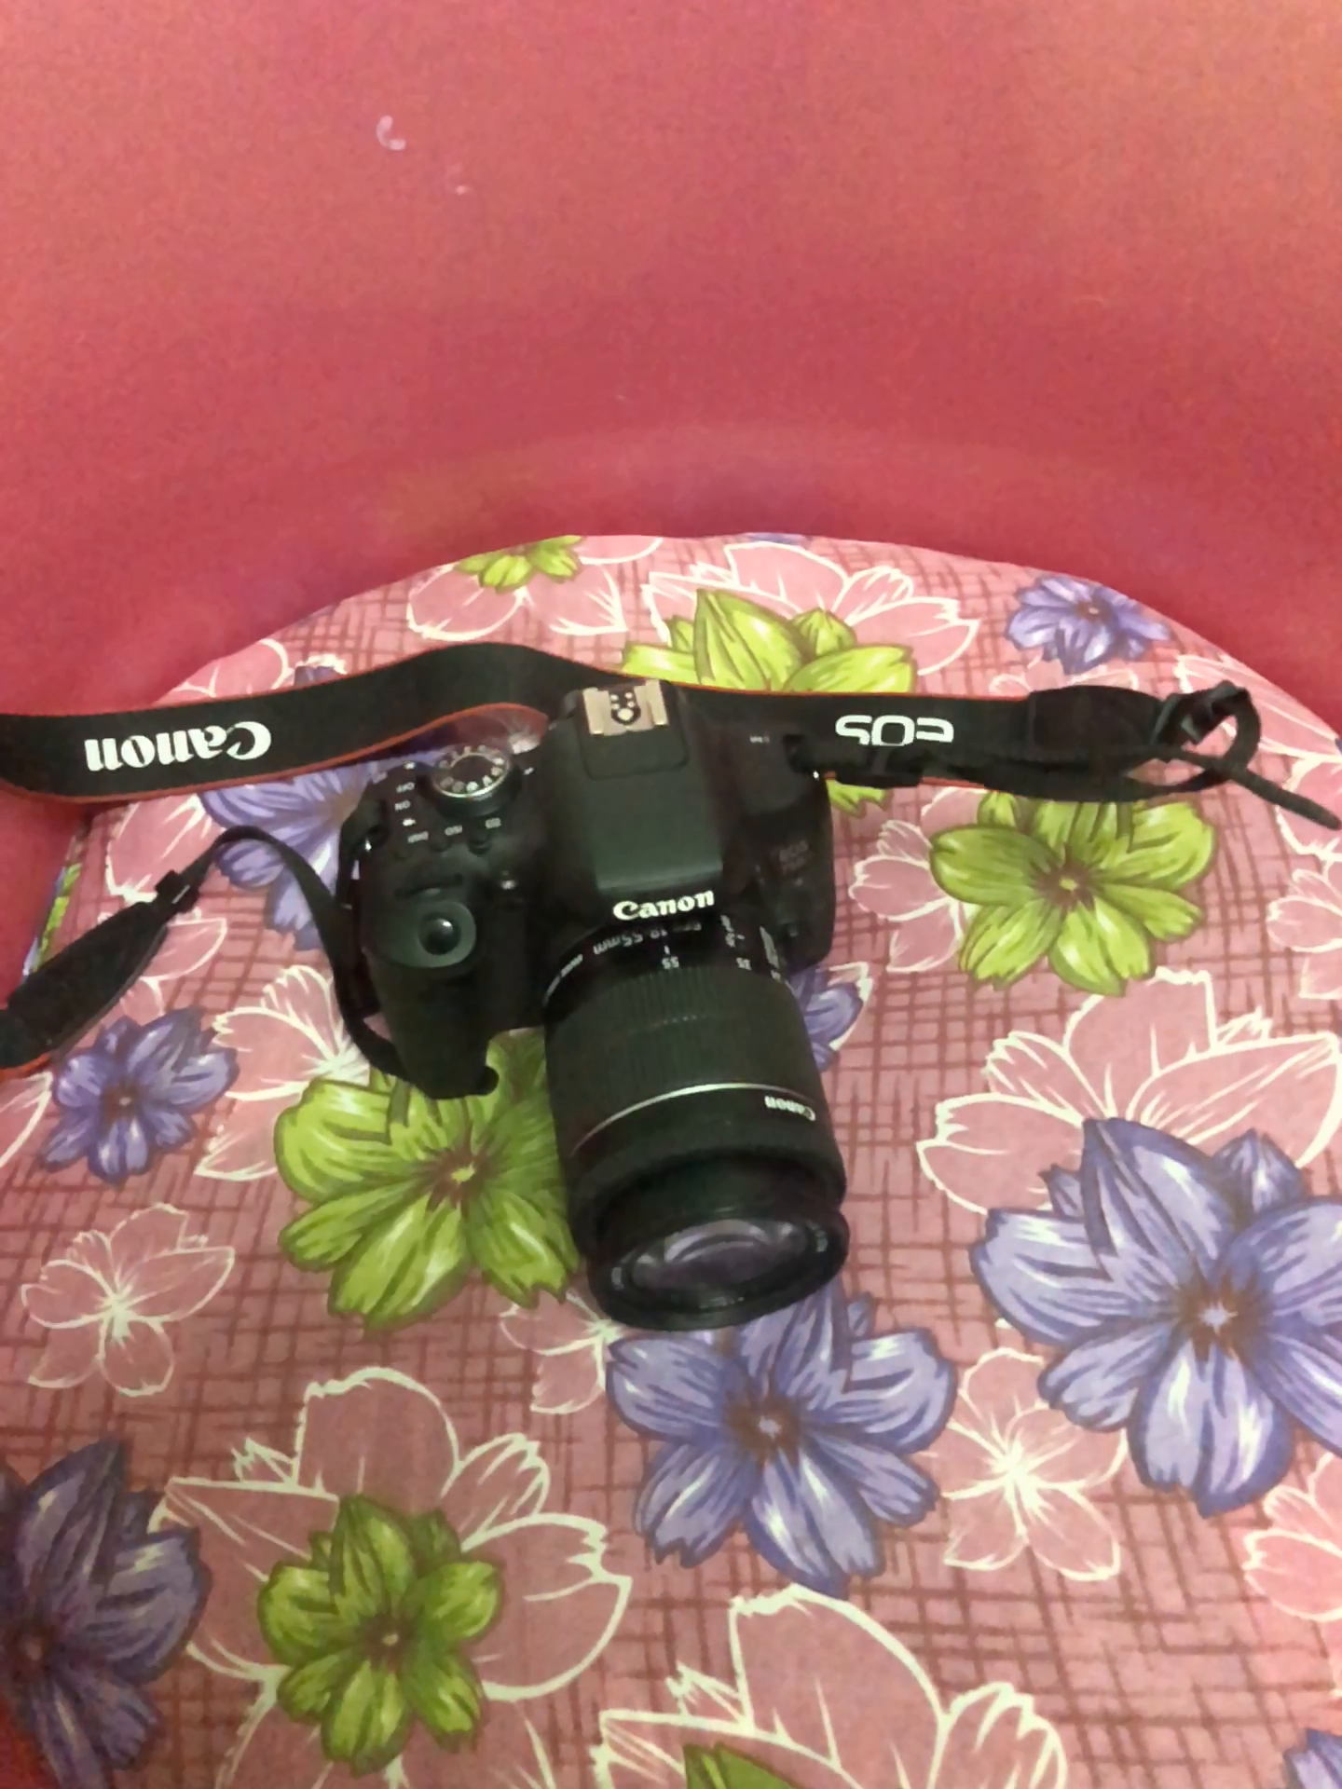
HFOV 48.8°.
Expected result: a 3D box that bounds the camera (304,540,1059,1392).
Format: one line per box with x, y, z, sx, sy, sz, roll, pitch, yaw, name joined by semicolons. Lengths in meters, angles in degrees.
-0.007;0.014;0.360;0.140;0.099;0.161;-8;55;-3;camera
